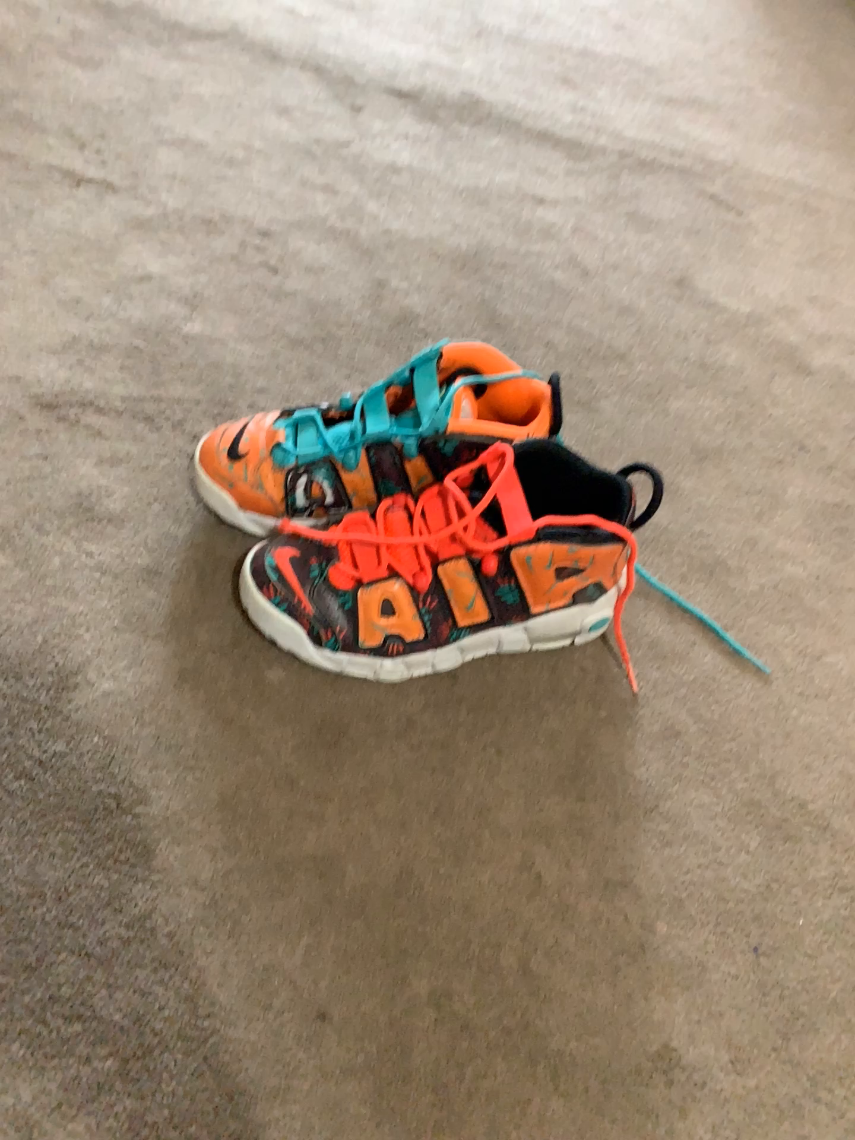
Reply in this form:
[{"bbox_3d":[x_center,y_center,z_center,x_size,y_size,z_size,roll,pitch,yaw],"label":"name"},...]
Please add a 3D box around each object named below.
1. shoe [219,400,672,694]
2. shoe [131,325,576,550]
[{"bbox_3d":[0.004,-0.014,0.516,0.230,0.109,0.101,-7,52,-7],"label":"shoe"},{"bbox_3d":[-0.044,-0.084,0.561,0.250,0.089,0.101,-2,55,-4],"label":"shoe"}]
